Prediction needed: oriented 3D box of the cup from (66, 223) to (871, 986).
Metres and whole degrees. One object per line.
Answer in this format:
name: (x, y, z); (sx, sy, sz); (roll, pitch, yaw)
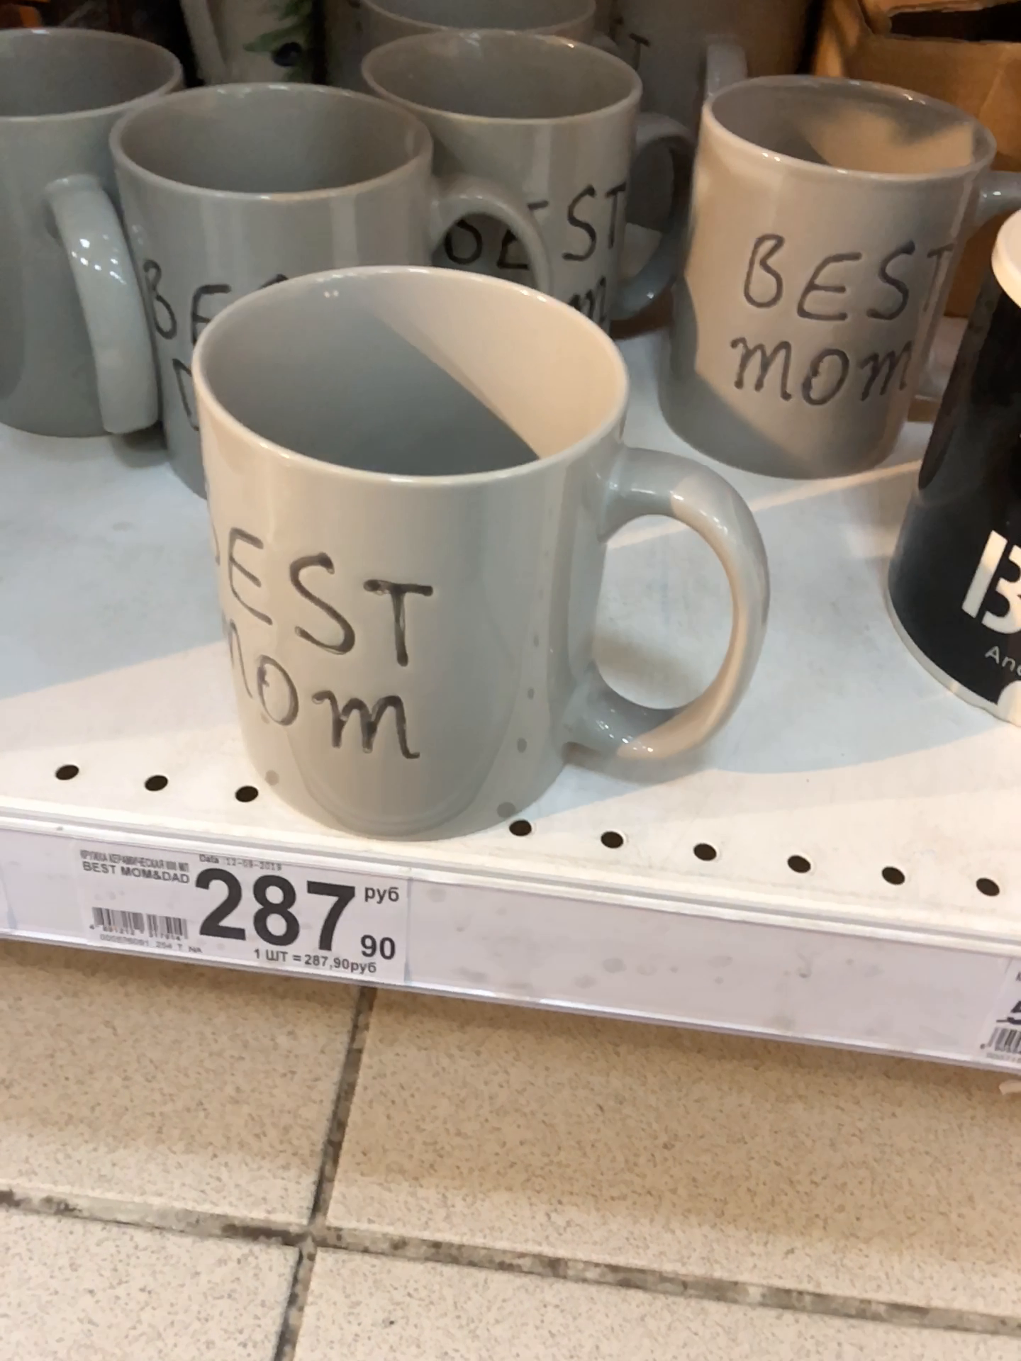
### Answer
cup: (-0.006, -0.025, 0.280); (0.143, 0.121, 0.101); (17, 42, 17)
